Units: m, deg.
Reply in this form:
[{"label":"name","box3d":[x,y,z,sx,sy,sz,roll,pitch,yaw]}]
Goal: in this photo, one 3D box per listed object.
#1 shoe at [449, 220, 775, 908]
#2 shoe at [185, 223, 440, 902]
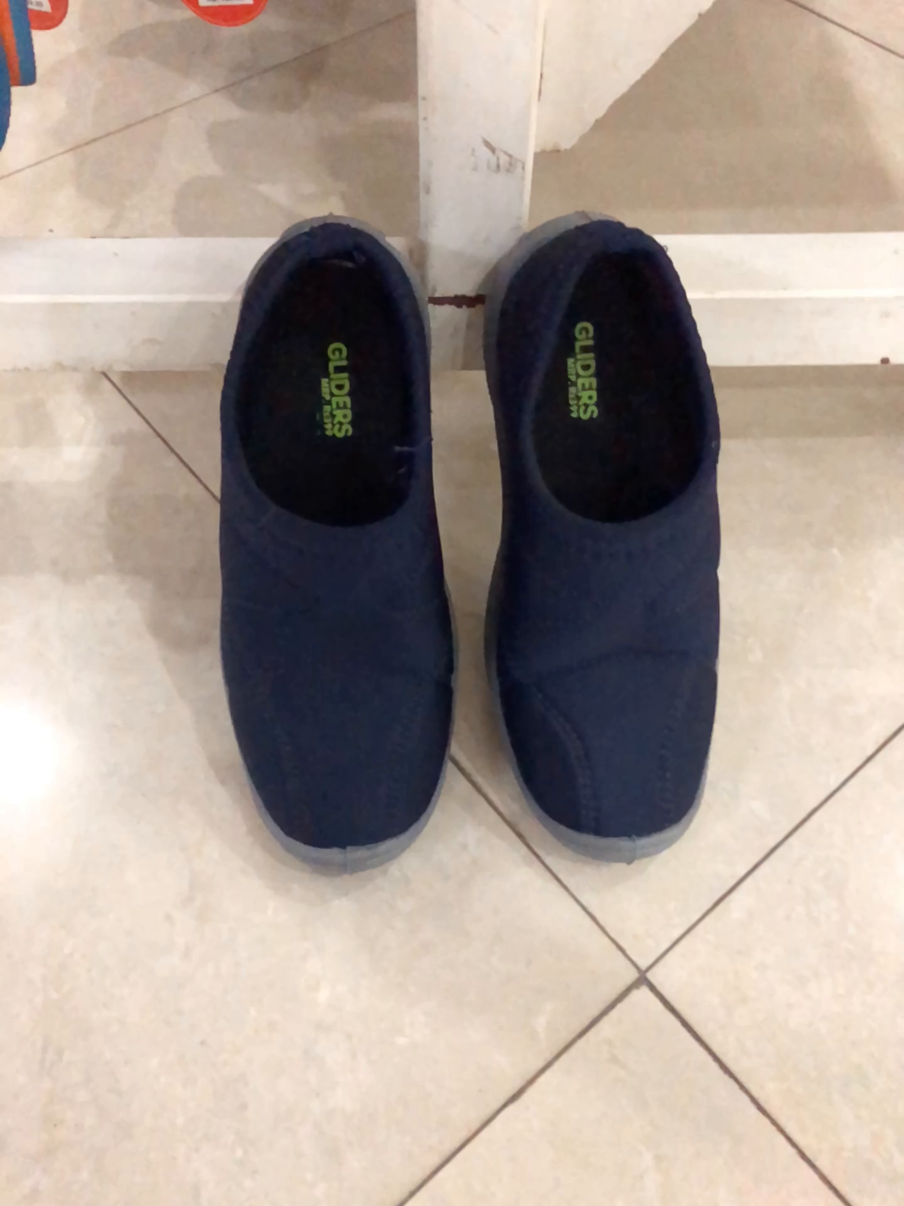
[{"label":"shoe","box3d":[0.110,-0.027,0.823,0.186,0.207,0.489,-4,82,-2]},{"label":"shoe","box3d":[-0.106,-0.027,0.780,0.160,0.200,0.460,-2,84,-5]}]
